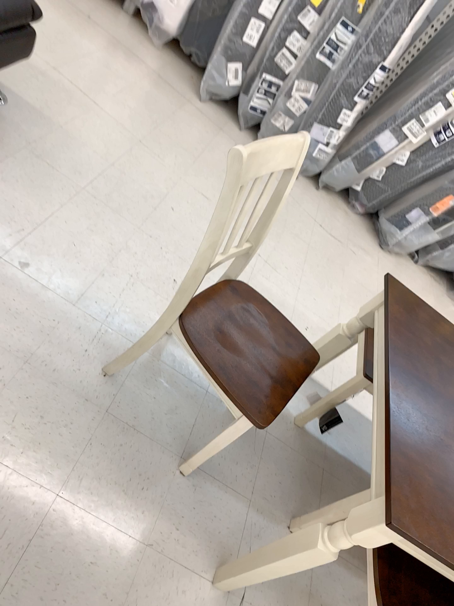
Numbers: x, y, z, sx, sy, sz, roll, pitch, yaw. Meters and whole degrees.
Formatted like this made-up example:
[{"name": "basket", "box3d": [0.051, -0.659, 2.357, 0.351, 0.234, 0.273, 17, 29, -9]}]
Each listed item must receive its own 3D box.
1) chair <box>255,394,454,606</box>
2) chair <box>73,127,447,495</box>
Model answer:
[{"name": "chair", "box3d": [0.594, 0.798, 1.233, 0.464, 0.932, 0.607, 36, 39, -10]}, {"name": "chair", "box3d": [0.065, 0.046, 1.450, 0.594, 0.902, 0.527, 47, 38, 4]}]
